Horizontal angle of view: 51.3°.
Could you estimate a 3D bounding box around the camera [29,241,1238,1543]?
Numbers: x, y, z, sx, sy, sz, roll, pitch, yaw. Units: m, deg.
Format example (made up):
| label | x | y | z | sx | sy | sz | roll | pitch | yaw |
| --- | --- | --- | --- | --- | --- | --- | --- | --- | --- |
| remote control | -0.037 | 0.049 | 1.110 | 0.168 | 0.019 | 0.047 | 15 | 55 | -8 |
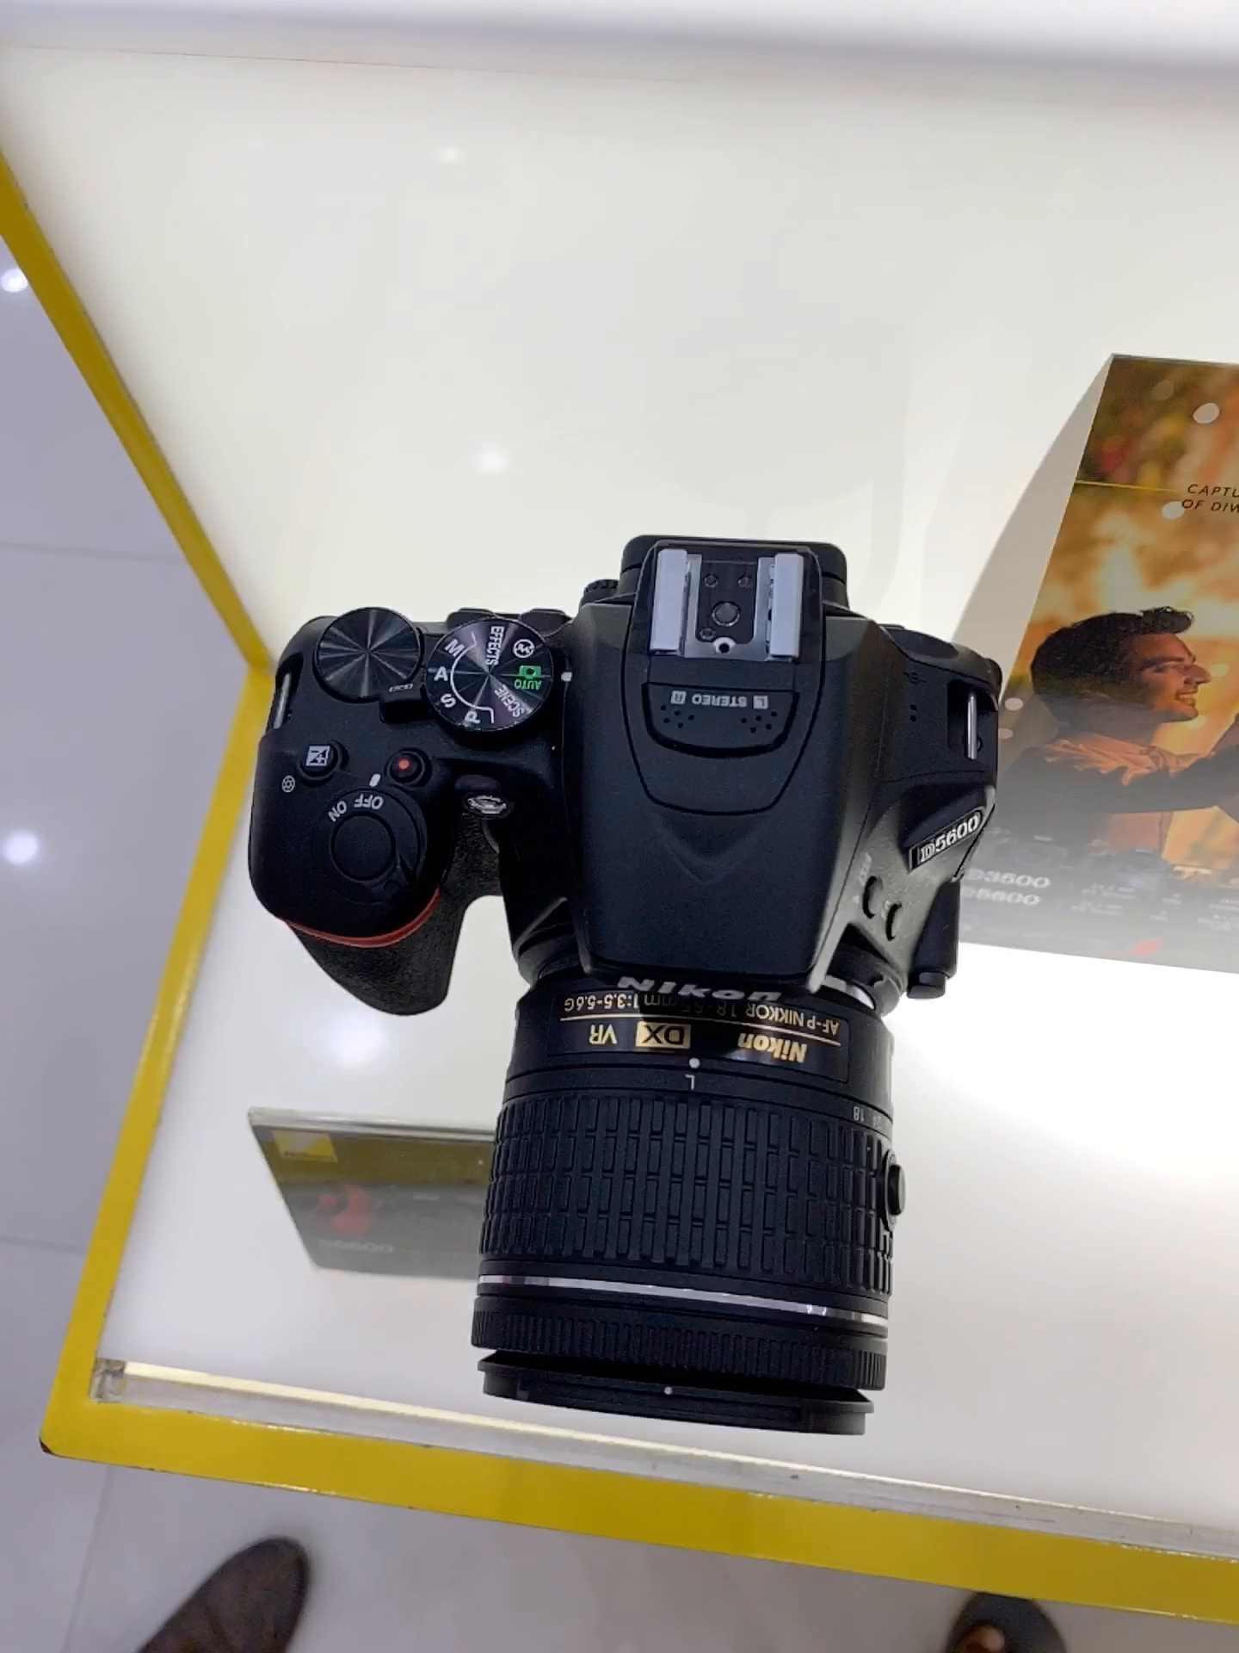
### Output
| label | x | y | z | sx | sy | sz | roll | pitch | yaw |
| --- | --- | --- | --- | --- | --- | --- | --- | --- | --- |
| camera | 0.010 | 0.008 | 0.196 | 0.120 | 0.090 | 0.160 | 3 | 66 | 4 |
